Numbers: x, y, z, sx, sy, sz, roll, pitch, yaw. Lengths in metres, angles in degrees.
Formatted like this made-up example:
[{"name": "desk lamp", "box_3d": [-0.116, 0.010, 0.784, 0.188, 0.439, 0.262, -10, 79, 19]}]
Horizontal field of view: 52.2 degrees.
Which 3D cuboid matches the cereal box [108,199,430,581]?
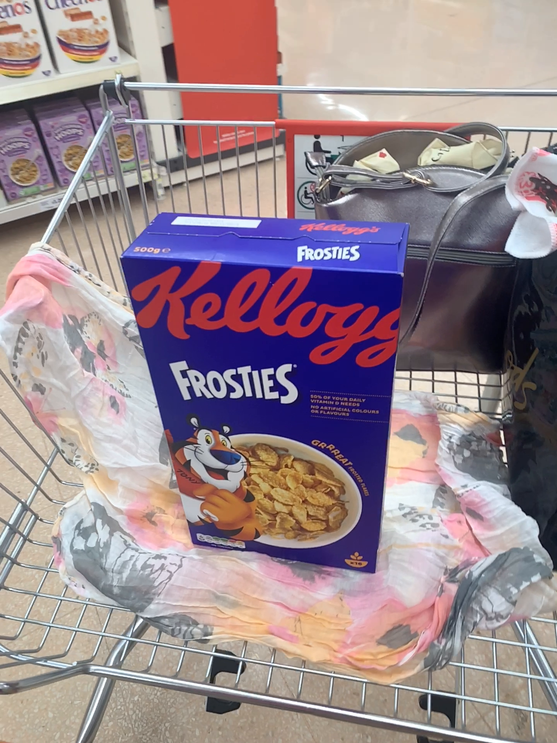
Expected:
[{"name": "cereal box", "box_3d": [0.000, 0.035, 0.498, 0.210, 0.337, 0.081, 6, 38, 10]}]
